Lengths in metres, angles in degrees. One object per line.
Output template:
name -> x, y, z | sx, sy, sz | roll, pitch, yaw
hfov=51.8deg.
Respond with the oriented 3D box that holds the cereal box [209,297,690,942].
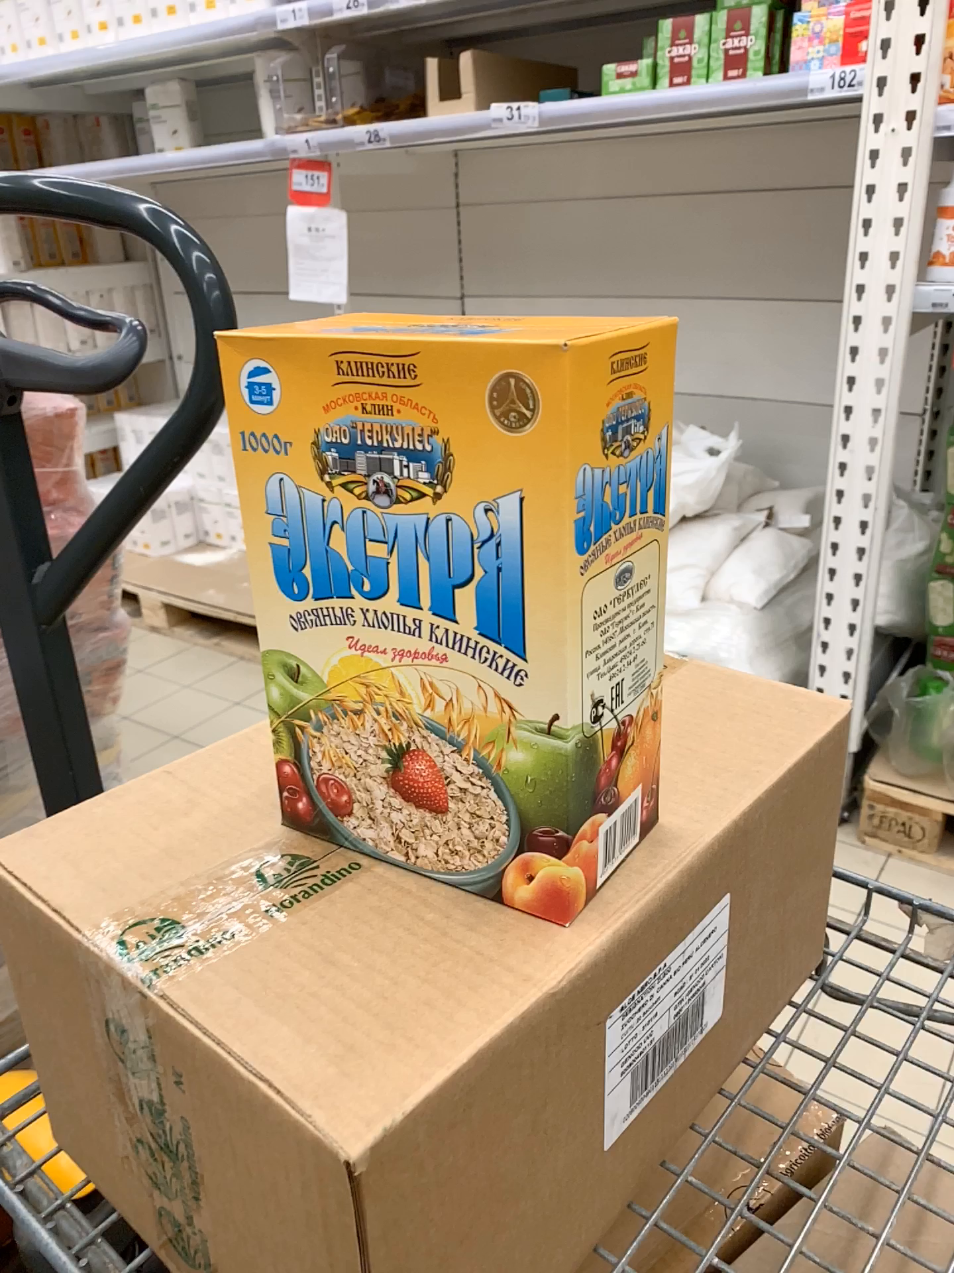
cereal box -> -0.006, -0.018, 0.431 | 0.160, 0.239, 0.100 | 11, 26, 30
